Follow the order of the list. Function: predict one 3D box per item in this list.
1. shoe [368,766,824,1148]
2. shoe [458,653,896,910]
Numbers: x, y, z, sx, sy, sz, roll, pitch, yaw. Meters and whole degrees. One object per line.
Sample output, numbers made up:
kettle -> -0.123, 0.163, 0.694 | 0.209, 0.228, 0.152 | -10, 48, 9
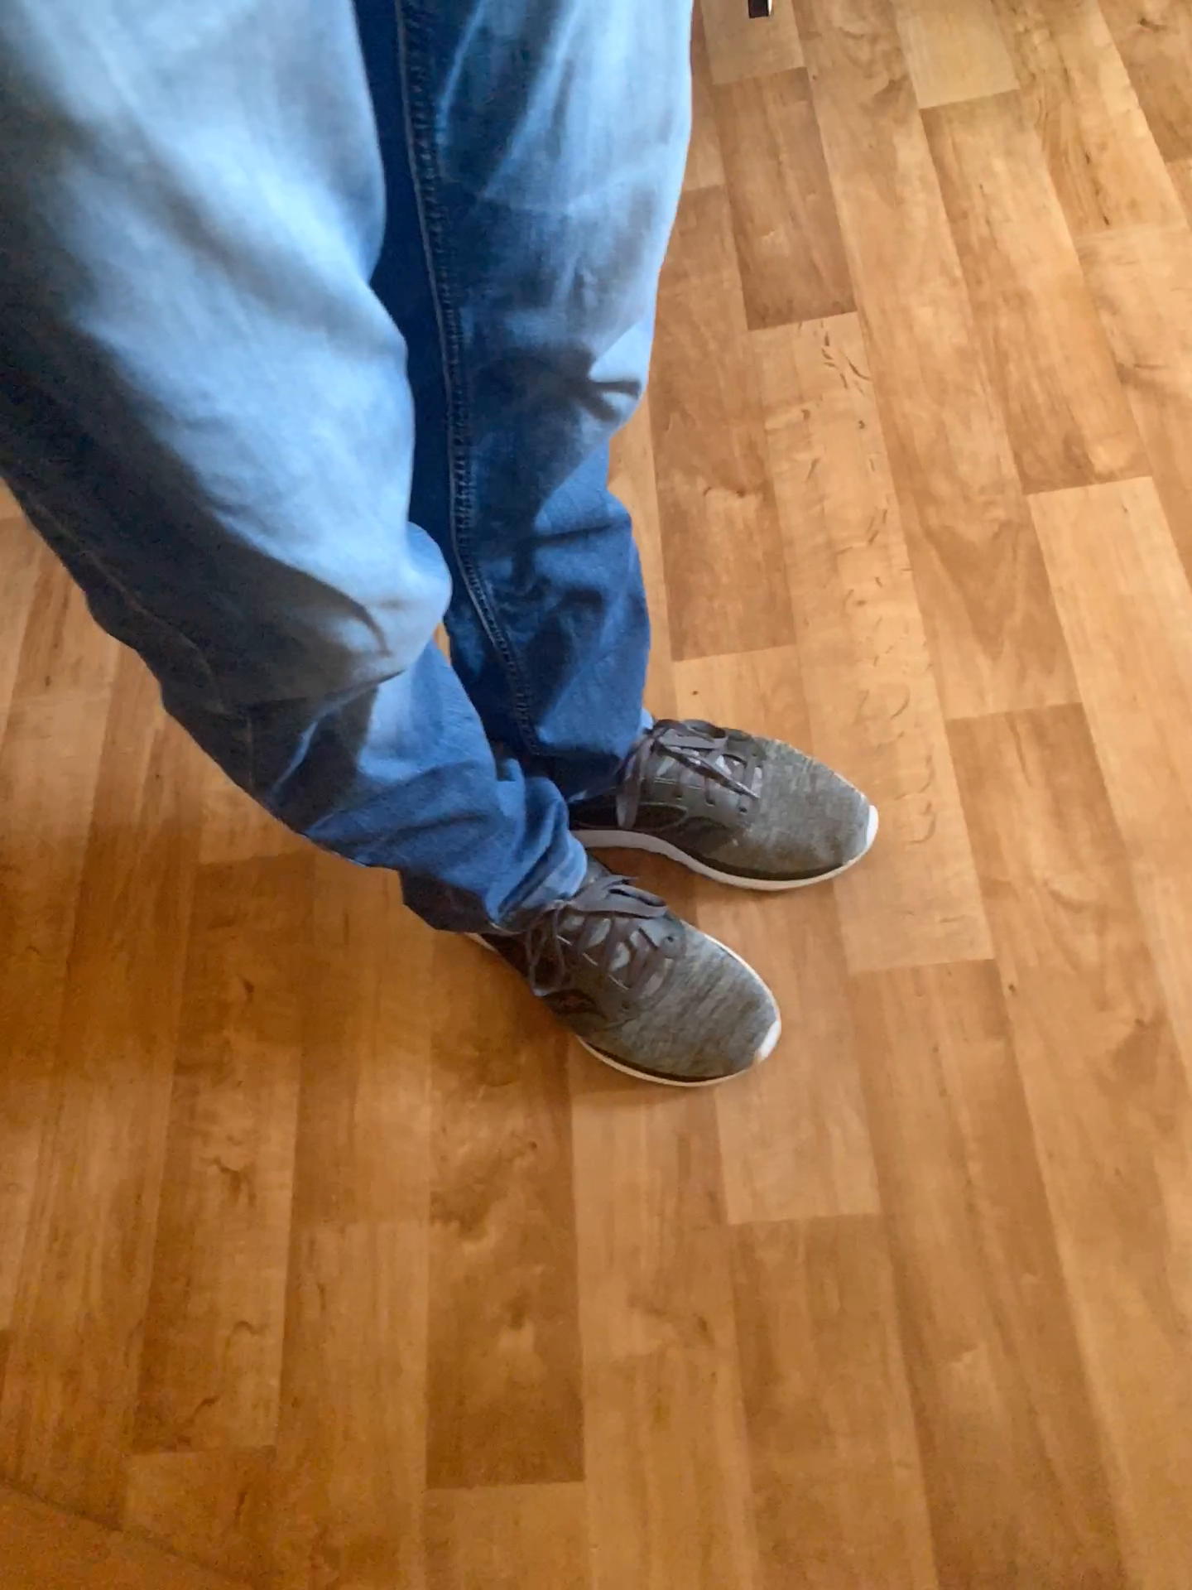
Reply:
shoe -> 0.002, 0.108, 0.841 | 0.281, 0.100, 0.124 | 26, 70, 22
shoe -> 0.064, -0.012, 0.893 | 0.290, 0.100, 0.134 | 5, 64, 14
